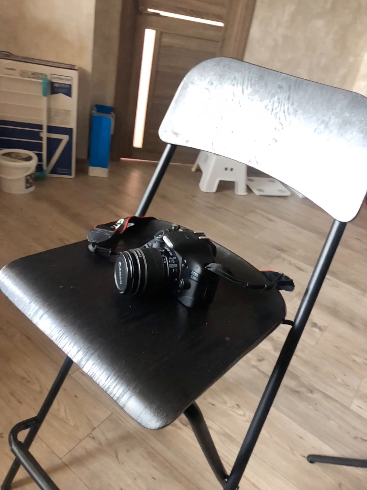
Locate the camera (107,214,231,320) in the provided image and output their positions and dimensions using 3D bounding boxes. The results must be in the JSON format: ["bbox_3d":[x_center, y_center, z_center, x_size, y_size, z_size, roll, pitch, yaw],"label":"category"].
[{"bbox_3d":[-0.028,0.026,0.613,0.140,0.092,0.121,-6,34,-26],"label":"camera"}]
